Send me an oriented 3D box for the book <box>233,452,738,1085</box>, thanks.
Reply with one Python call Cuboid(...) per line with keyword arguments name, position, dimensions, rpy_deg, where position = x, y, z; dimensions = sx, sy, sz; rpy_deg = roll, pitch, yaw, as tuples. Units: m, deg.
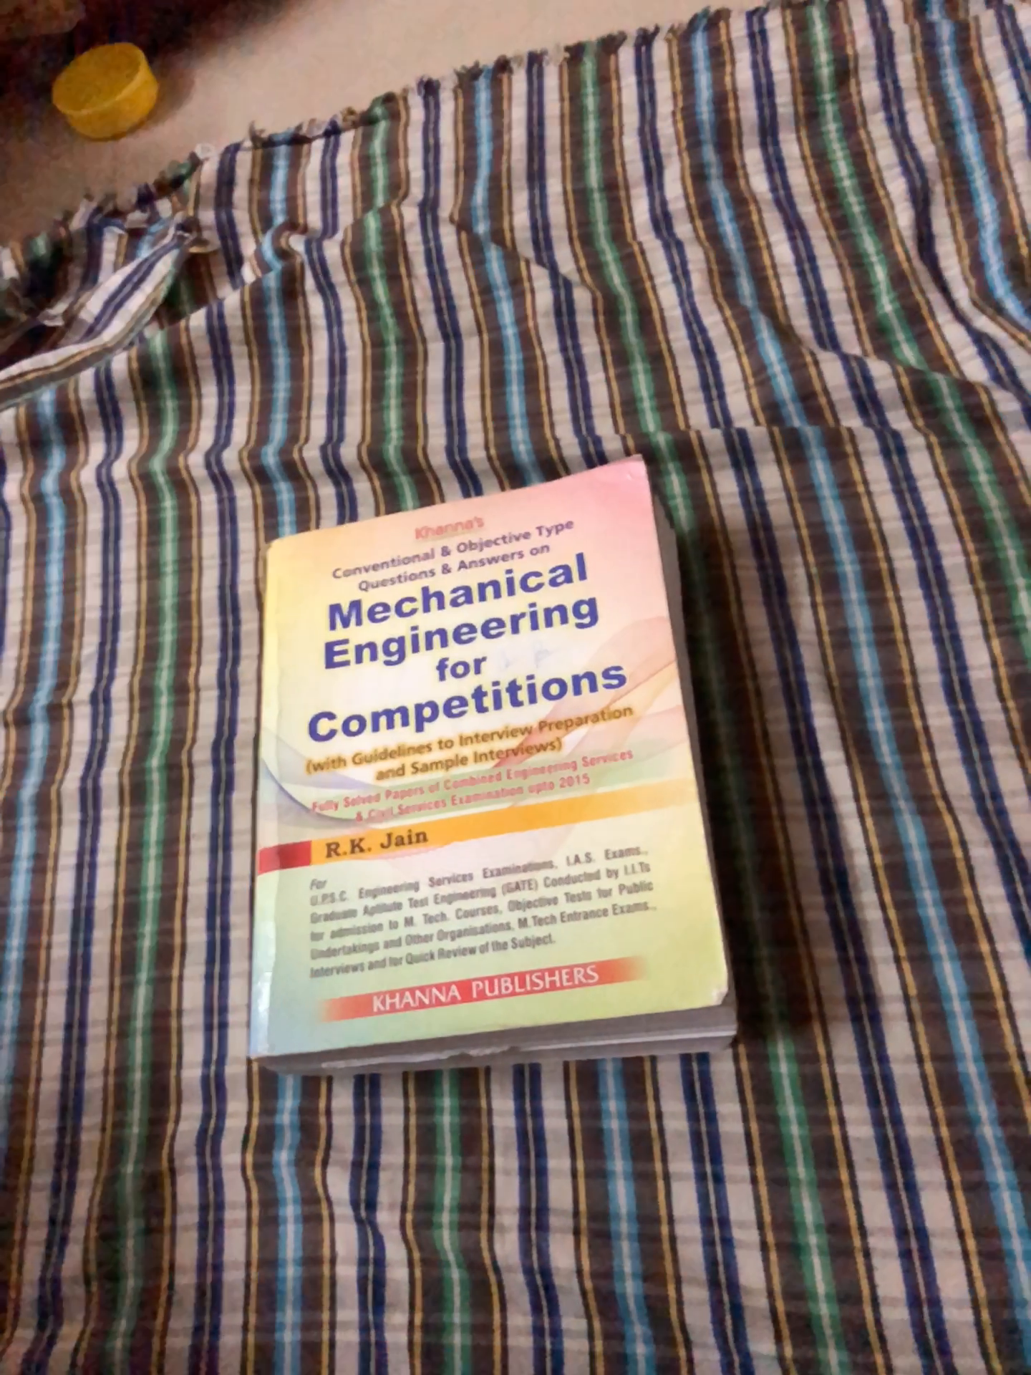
Cuboid(name="book", position=(-0.016, 0.037, 0.567), dimensions=(0.210, 0.077, 0.280), rpy_deg=(-8, 63, 10))
